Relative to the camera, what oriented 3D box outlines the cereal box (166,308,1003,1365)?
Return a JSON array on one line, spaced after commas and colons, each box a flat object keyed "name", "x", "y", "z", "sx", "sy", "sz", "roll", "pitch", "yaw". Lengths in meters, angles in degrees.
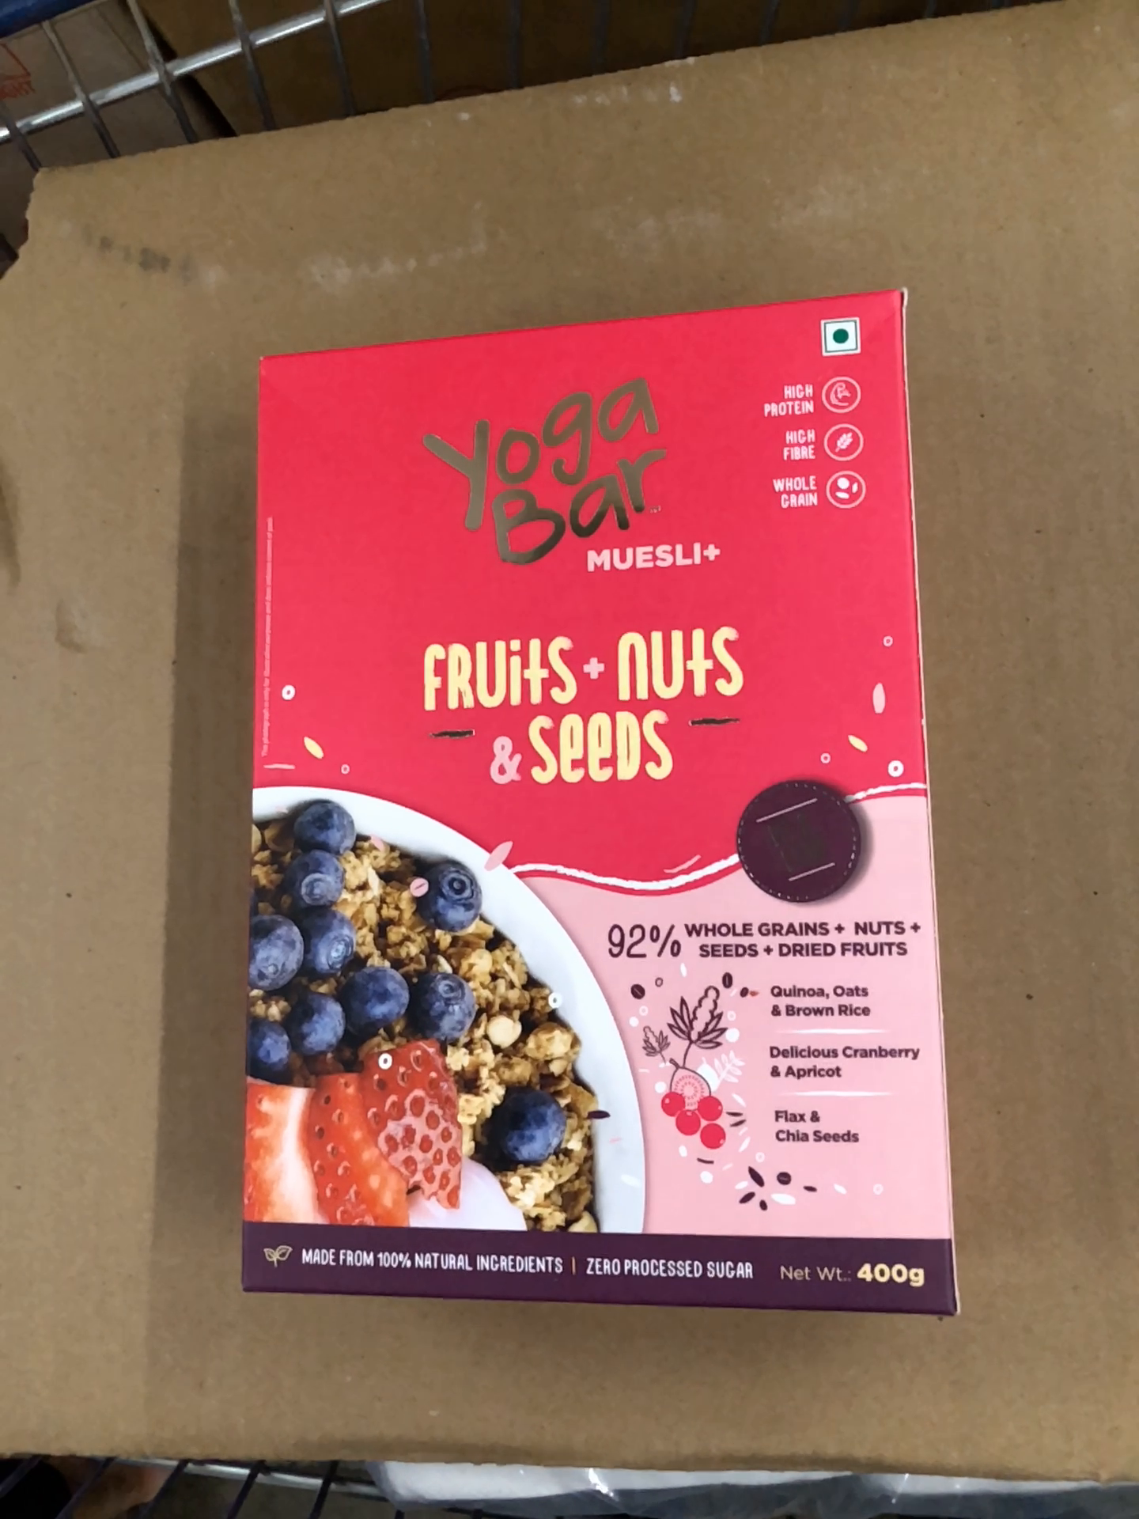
[{"name": "cereal box", "x": 0.002, "y": 0.016, "z": 0.294, "sx": 0.170, "sy": 0.060, "sz": 0.210, "roll": -2, "pitch": 84, "yaw": 9}]
